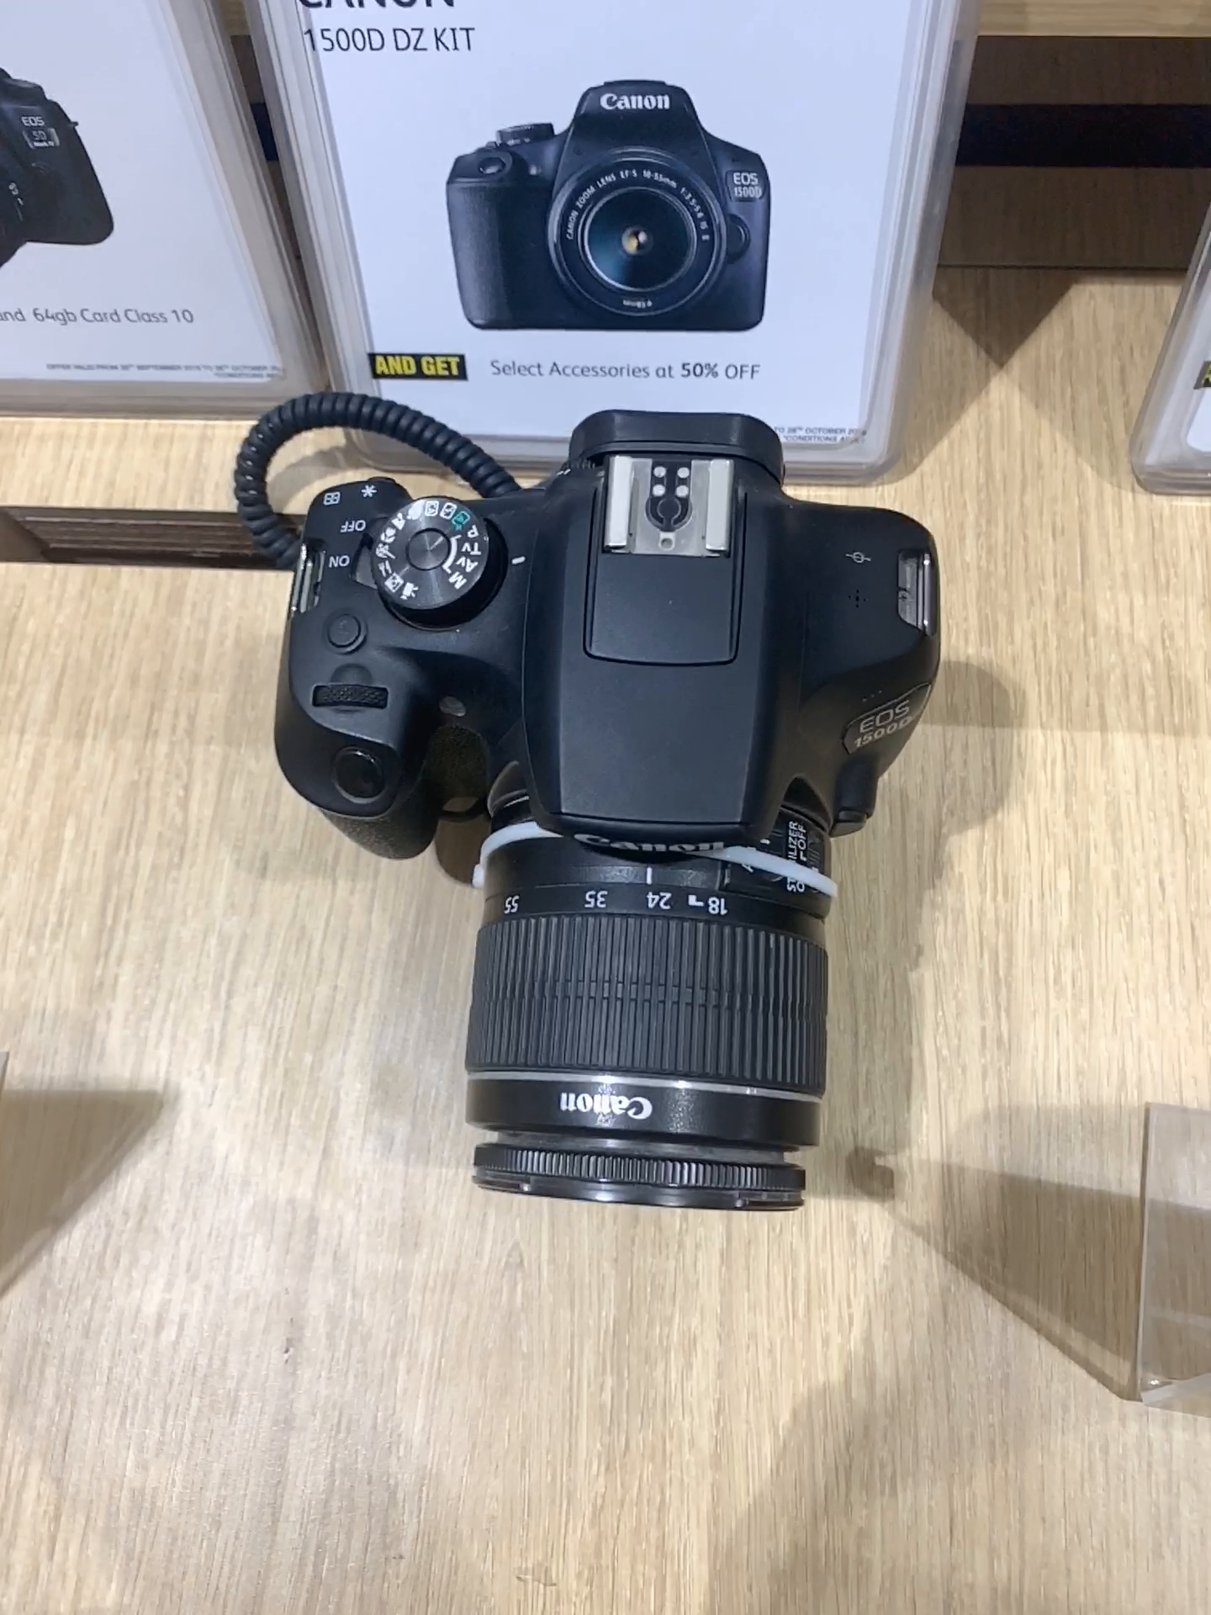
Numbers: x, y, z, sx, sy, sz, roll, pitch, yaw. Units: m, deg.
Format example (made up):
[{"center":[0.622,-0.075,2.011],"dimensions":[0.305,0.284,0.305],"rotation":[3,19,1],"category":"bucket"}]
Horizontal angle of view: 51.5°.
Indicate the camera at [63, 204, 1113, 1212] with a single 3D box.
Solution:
[{"center":[0.002,-0.011,0.239],"dimensions":[0.140,0.100,0.160],"rotation":[1,72,5],"category":"camera"}]
